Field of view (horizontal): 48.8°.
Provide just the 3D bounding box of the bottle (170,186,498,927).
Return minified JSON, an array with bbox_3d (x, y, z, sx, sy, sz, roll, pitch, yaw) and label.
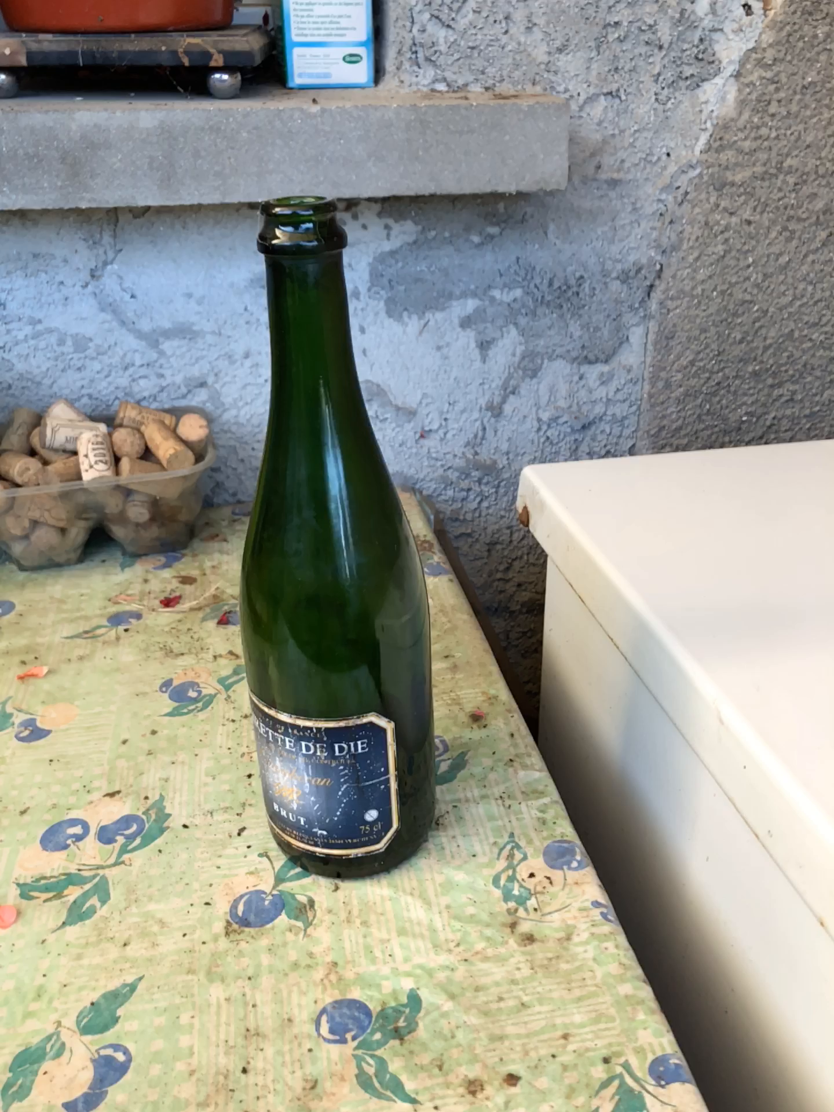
[{"bbox_3d":[-0.028,0.007,0.409,0.090,0.308,0.080,21,35,36],"label":"bottle"}]
